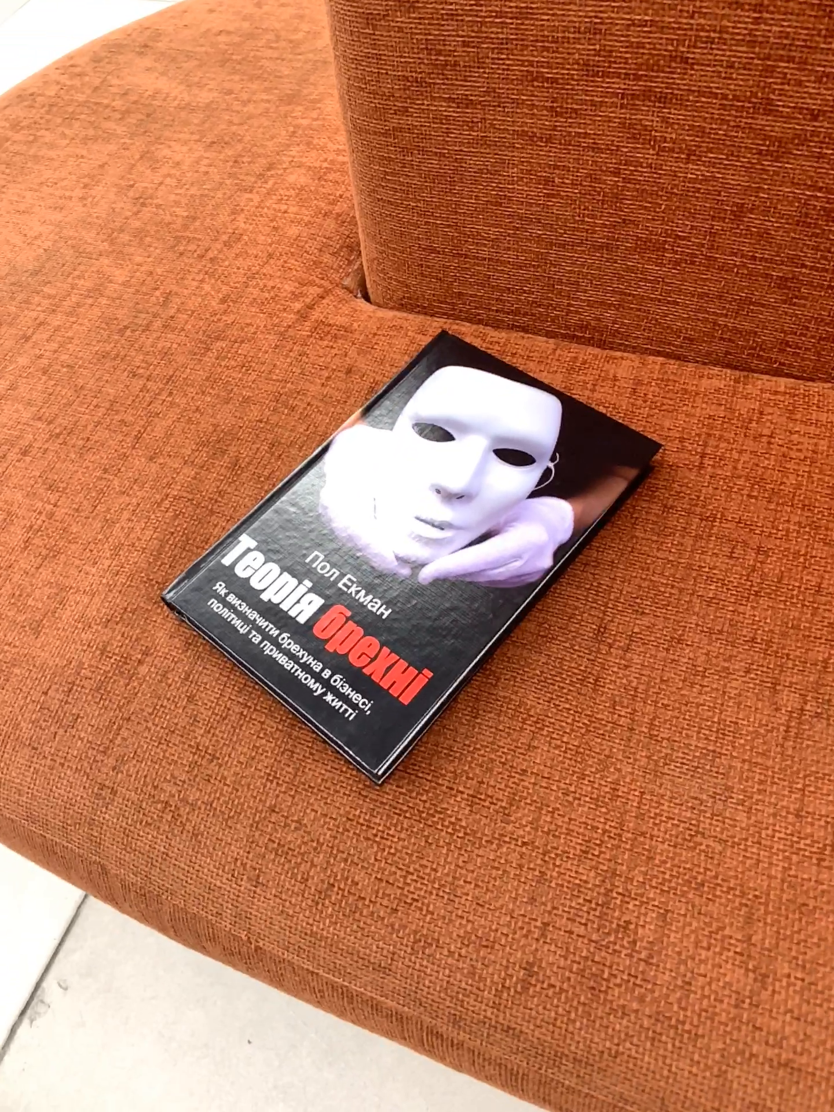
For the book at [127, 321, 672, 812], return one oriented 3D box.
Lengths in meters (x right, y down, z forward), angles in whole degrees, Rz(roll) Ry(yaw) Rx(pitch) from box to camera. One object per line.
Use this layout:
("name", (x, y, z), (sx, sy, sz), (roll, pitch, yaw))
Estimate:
("book", (-0.005, -0.012, 0.403), (0.150, 0.030, 0.209), (33, 66, 26))
